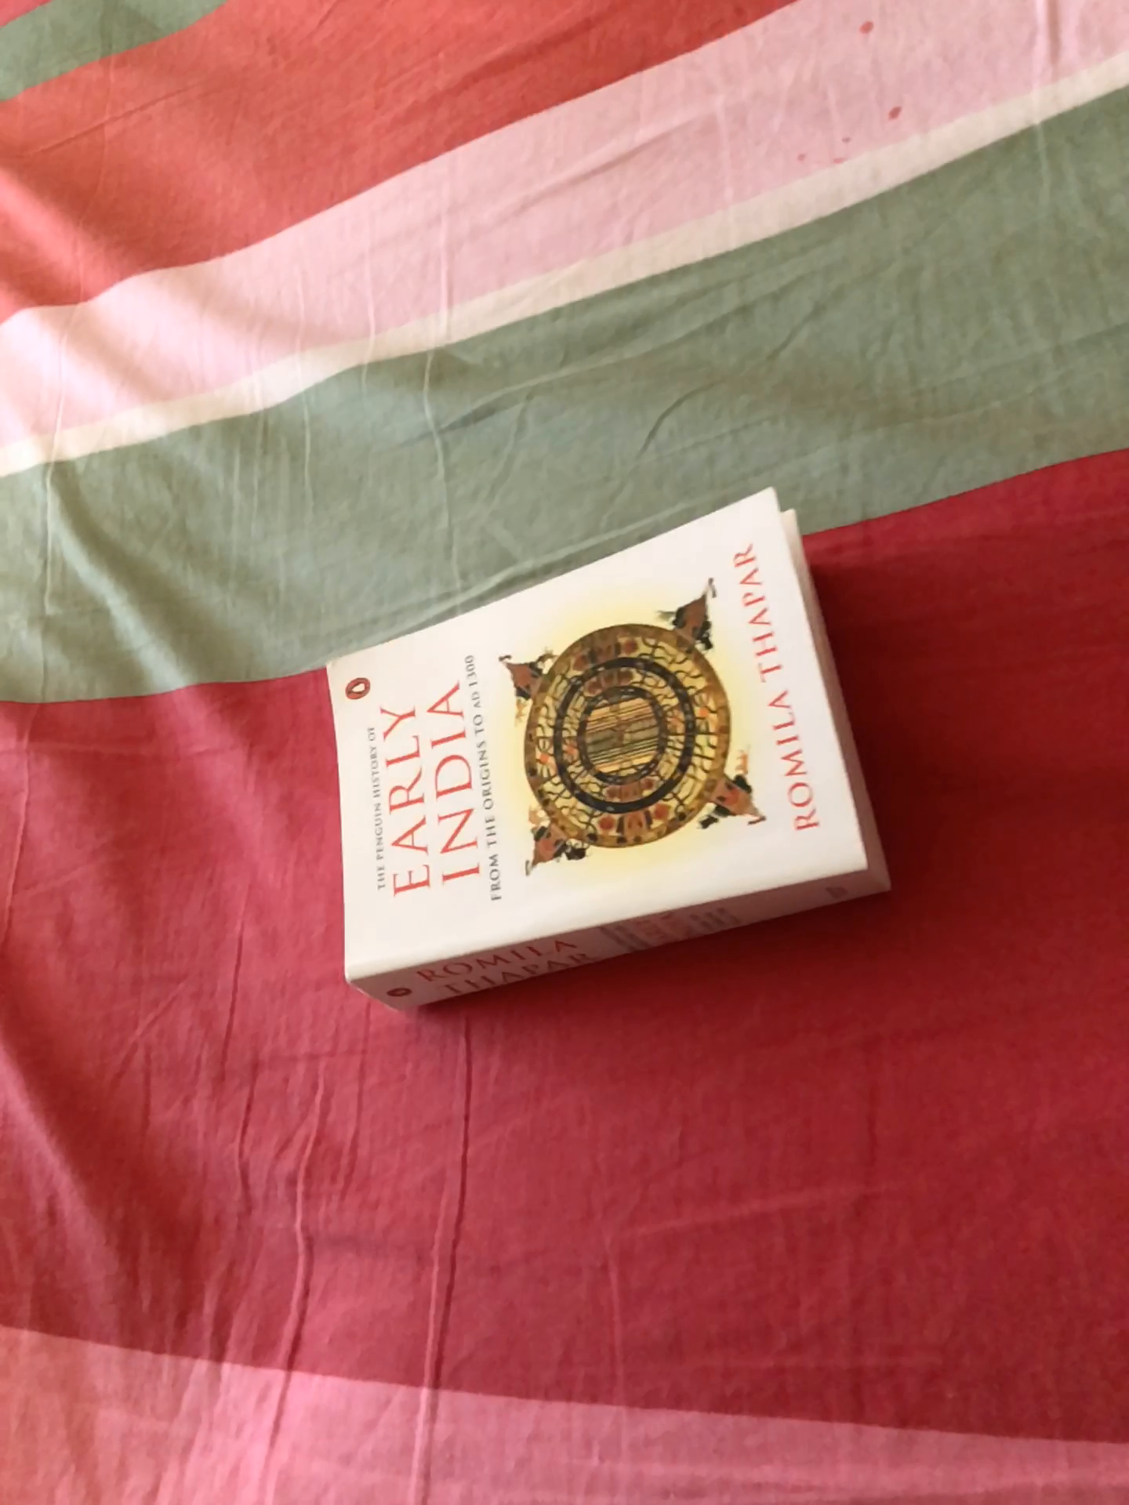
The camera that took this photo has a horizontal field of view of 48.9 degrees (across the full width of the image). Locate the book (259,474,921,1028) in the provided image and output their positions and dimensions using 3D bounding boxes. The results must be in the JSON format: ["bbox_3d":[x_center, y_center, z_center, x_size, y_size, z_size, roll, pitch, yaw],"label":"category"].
[{"bbox_3d":[0.002,0.007,0.428,0.201,0.070,0.120,-18,62,17],"label":"book"}]
